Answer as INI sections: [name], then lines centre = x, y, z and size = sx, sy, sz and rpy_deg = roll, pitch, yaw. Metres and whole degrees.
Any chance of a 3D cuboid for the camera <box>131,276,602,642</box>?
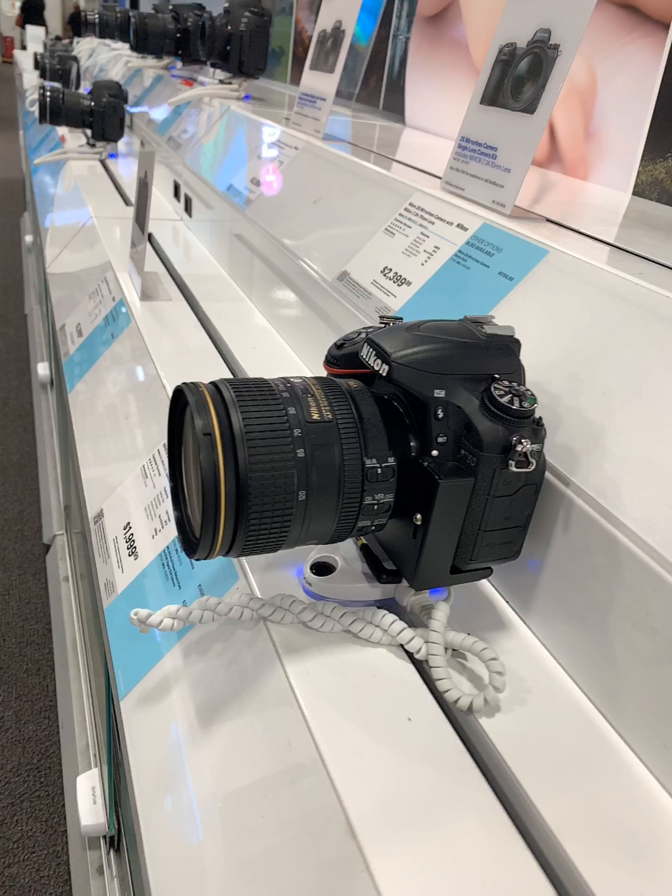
[camera]
centre = 0.003, -0.012, 0.353
size = 0.180, 0.111, 0.141
rpy_deg = -7, 32, -27
